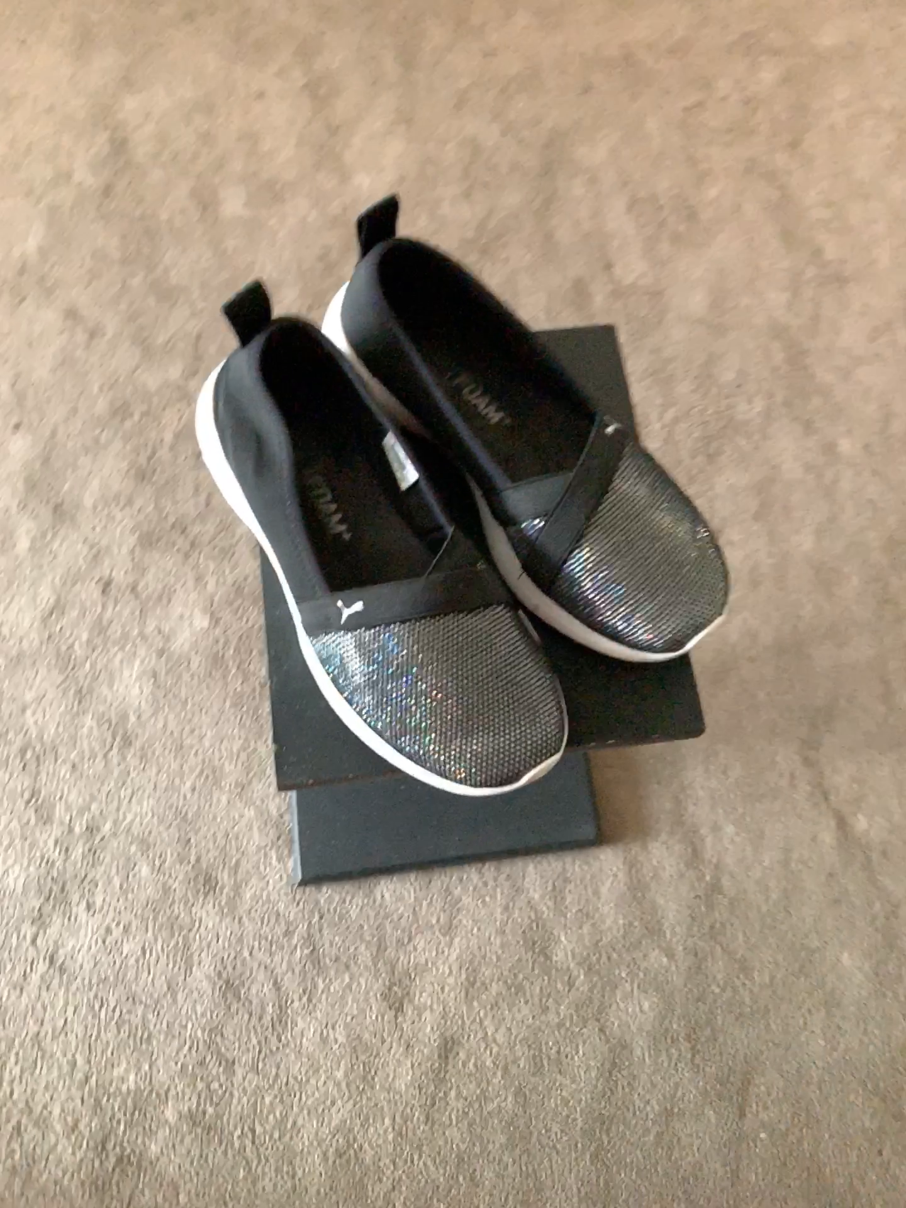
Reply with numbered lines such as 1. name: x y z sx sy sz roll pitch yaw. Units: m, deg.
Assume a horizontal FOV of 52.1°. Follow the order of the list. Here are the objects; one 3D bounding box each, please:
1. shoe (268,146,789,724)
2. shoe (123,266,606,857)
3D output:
1. shoe: 0.029 -0.073 0.448 0.090 0.080 0.260 -39 90 -15
2. shoe: -0.043 -0.017 0.427 0.090 0.080 0.240 -31 86 -13
